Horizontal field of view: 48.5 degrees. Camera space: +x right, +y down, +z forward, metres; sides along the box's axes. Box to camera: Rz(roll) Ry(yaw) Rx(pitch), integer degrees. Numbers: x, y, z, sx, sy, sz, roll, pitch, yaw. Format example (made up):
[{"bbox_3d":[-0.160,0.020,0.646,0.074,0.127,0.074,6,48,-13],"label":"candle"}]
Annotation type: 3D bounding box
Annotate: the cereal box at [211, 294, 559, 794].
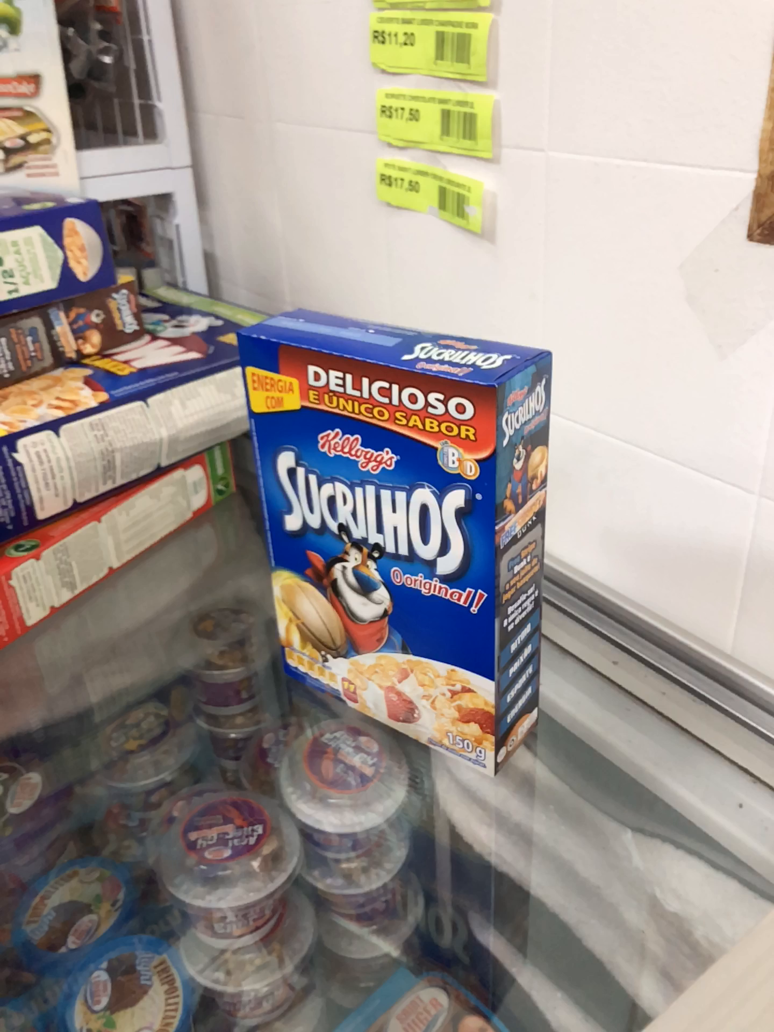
[{"bbox_3d":[0.000,0.011,0.399,0.140,0.199,0.050,18,36,33],"label":"cereal box"}]
